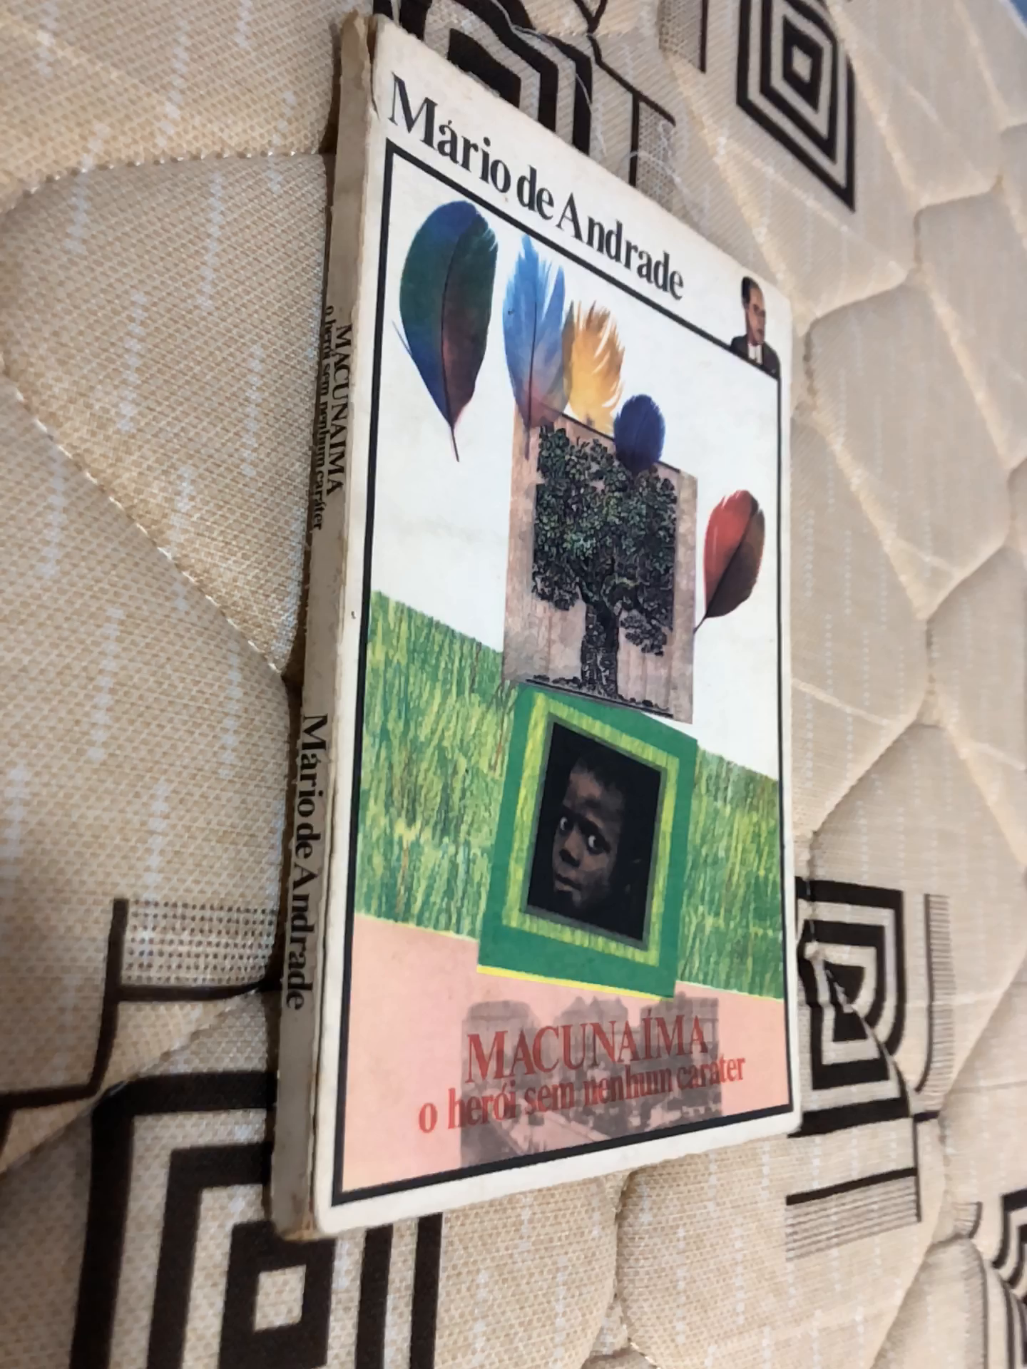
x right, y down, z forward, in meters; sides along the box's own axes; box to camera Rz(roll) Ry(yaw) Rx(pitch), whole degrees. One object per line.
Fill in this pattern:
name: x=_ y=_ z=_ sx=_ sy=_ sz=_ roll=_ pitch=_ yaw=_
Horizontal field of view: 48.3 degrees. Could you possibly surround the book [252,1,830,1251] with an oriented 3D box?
book: x=0.016 y=-0.008 z=0.222 sx=0.131 sy=0.020 sz=0.190 roll=11 pitch=76 yaw=-45
